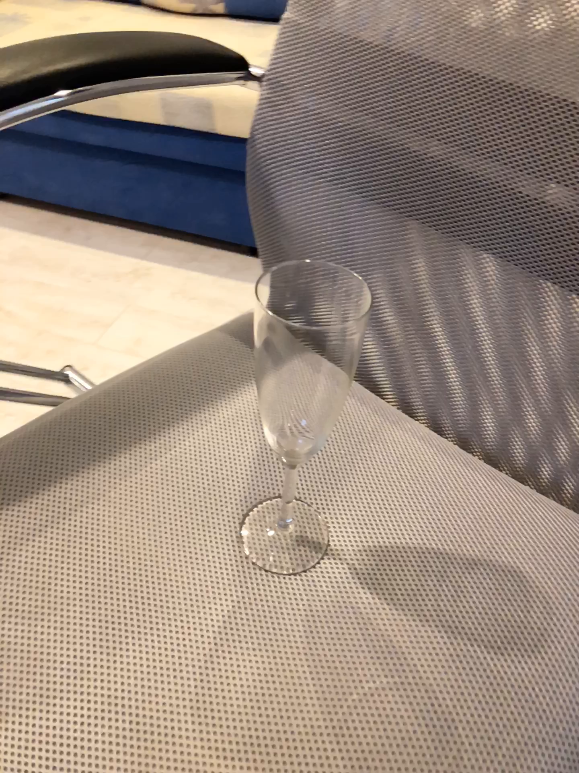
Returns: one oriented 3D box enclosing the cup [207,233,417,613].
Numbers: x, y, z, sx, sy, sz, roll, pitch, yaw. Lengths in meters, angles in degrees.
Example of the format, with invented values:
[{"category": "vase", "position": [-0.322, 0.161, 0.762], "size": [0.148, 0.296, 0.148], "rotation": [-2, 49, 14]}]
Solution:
[{"category": "cup", "position": [0.006, 0.034, 0.392], "size": [0.075, 0.228, 0.075], "rotation": [2, 42, -2]}]
